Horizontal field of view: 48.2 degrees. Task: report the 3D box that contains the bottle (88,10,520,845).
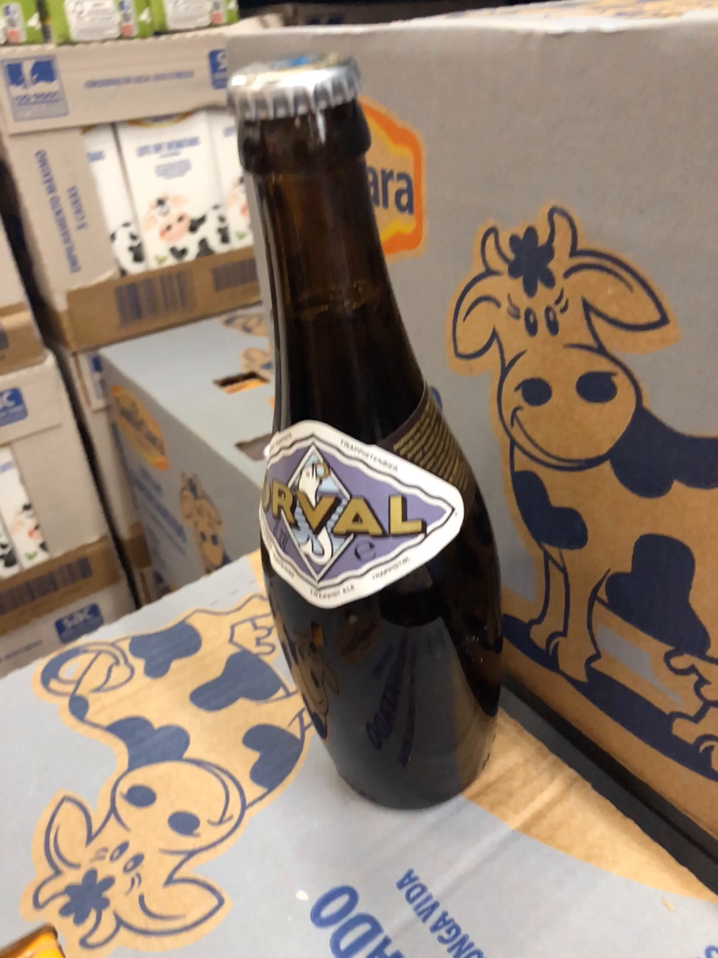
[{"bbox_3d":[0.001,-0.003,0.219,0.070,0.208,0.060,9,34,24],"label":"bottle"}]
